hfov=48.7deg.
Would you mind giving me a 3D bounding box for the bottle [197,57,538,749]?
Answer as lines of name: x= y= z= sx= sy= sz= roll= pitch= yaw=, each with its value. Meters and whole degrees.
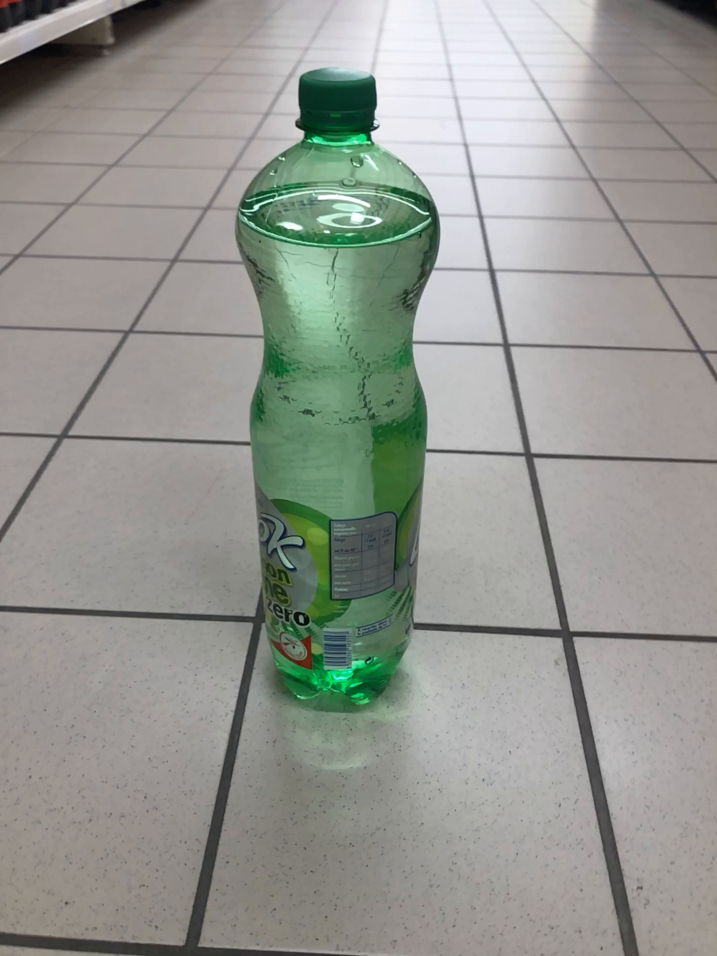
bottle: x=-0.004 y=-0.019 z=0.389 sx=0.100 sy=0.318 sz=0.100 roll=1 pitch=36 yaw=0
